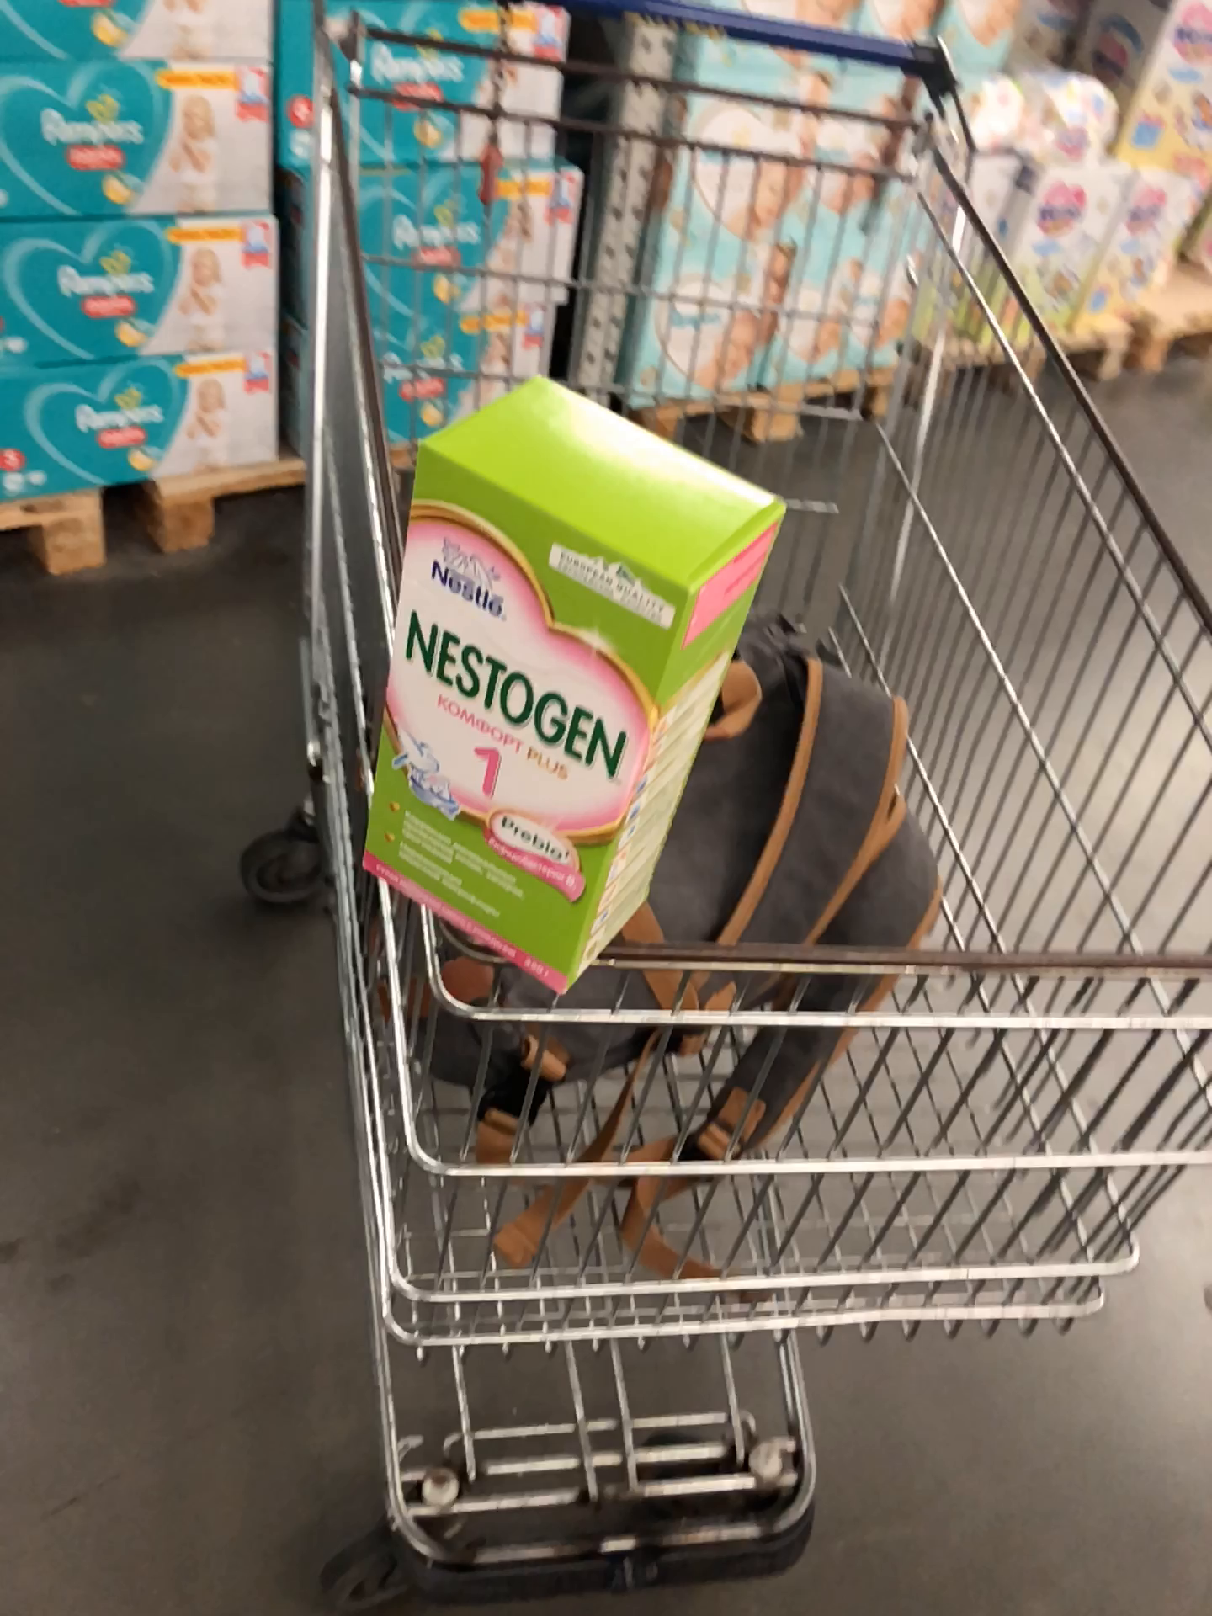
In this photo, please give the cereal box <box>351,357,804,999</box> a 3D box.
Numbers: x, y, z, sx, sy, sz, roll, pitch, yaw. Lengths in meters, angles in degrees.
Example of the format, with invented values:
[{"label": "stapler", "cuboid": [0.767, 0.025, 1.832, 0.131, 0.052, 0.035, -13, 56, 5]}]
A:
[{"label": "cereal box", "cuboid": [-0.019, -0.039, 0.464, 0.100, 0.189, 0.070, 30, 44, 14]}]
